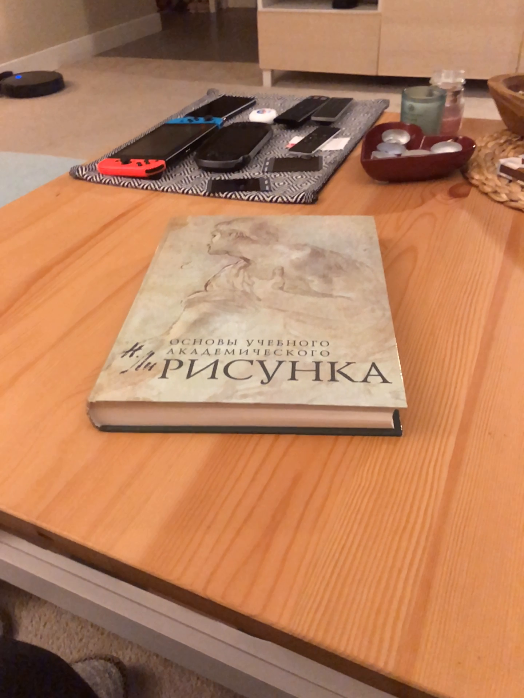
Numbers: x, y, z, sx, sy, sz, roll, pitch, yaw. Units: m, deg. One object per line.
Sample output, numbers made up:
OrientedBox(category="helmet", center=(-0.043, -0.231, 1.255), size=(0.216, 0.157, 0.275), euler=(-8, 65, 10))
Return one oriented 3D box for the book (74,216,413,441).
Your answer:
OrientedBox(category="book", center=(-0.005, -0.038, 0.479), size=(0.214, 0.030, 0.273), euler=(1, 38, 4))
